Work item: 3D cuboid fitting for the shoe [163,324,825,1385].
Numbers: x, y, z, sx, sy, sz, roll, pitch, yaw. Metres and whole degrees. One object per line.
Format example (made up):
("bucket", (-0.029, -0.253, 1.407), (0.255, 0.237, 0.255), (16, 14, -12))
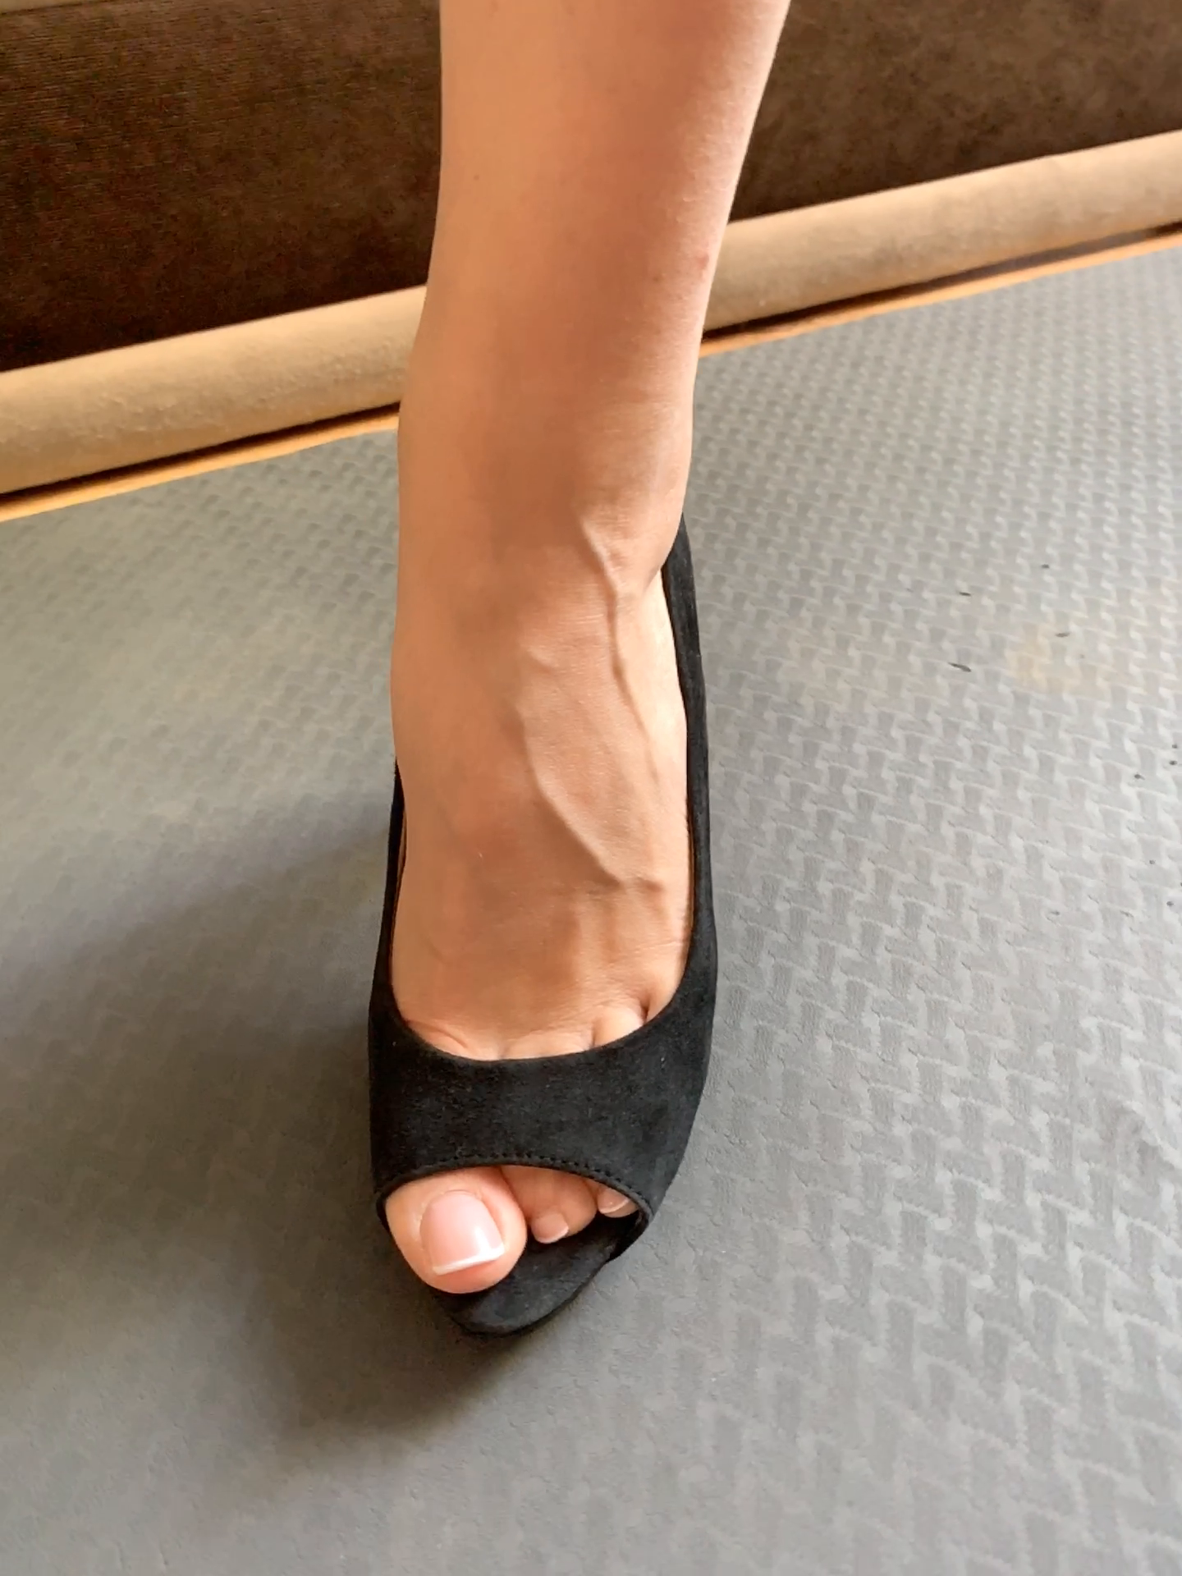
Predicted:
("shoe", (-0.004, 0.000, 0.289), (0.090, 0.139, 0.211), (2, 42, 5))
